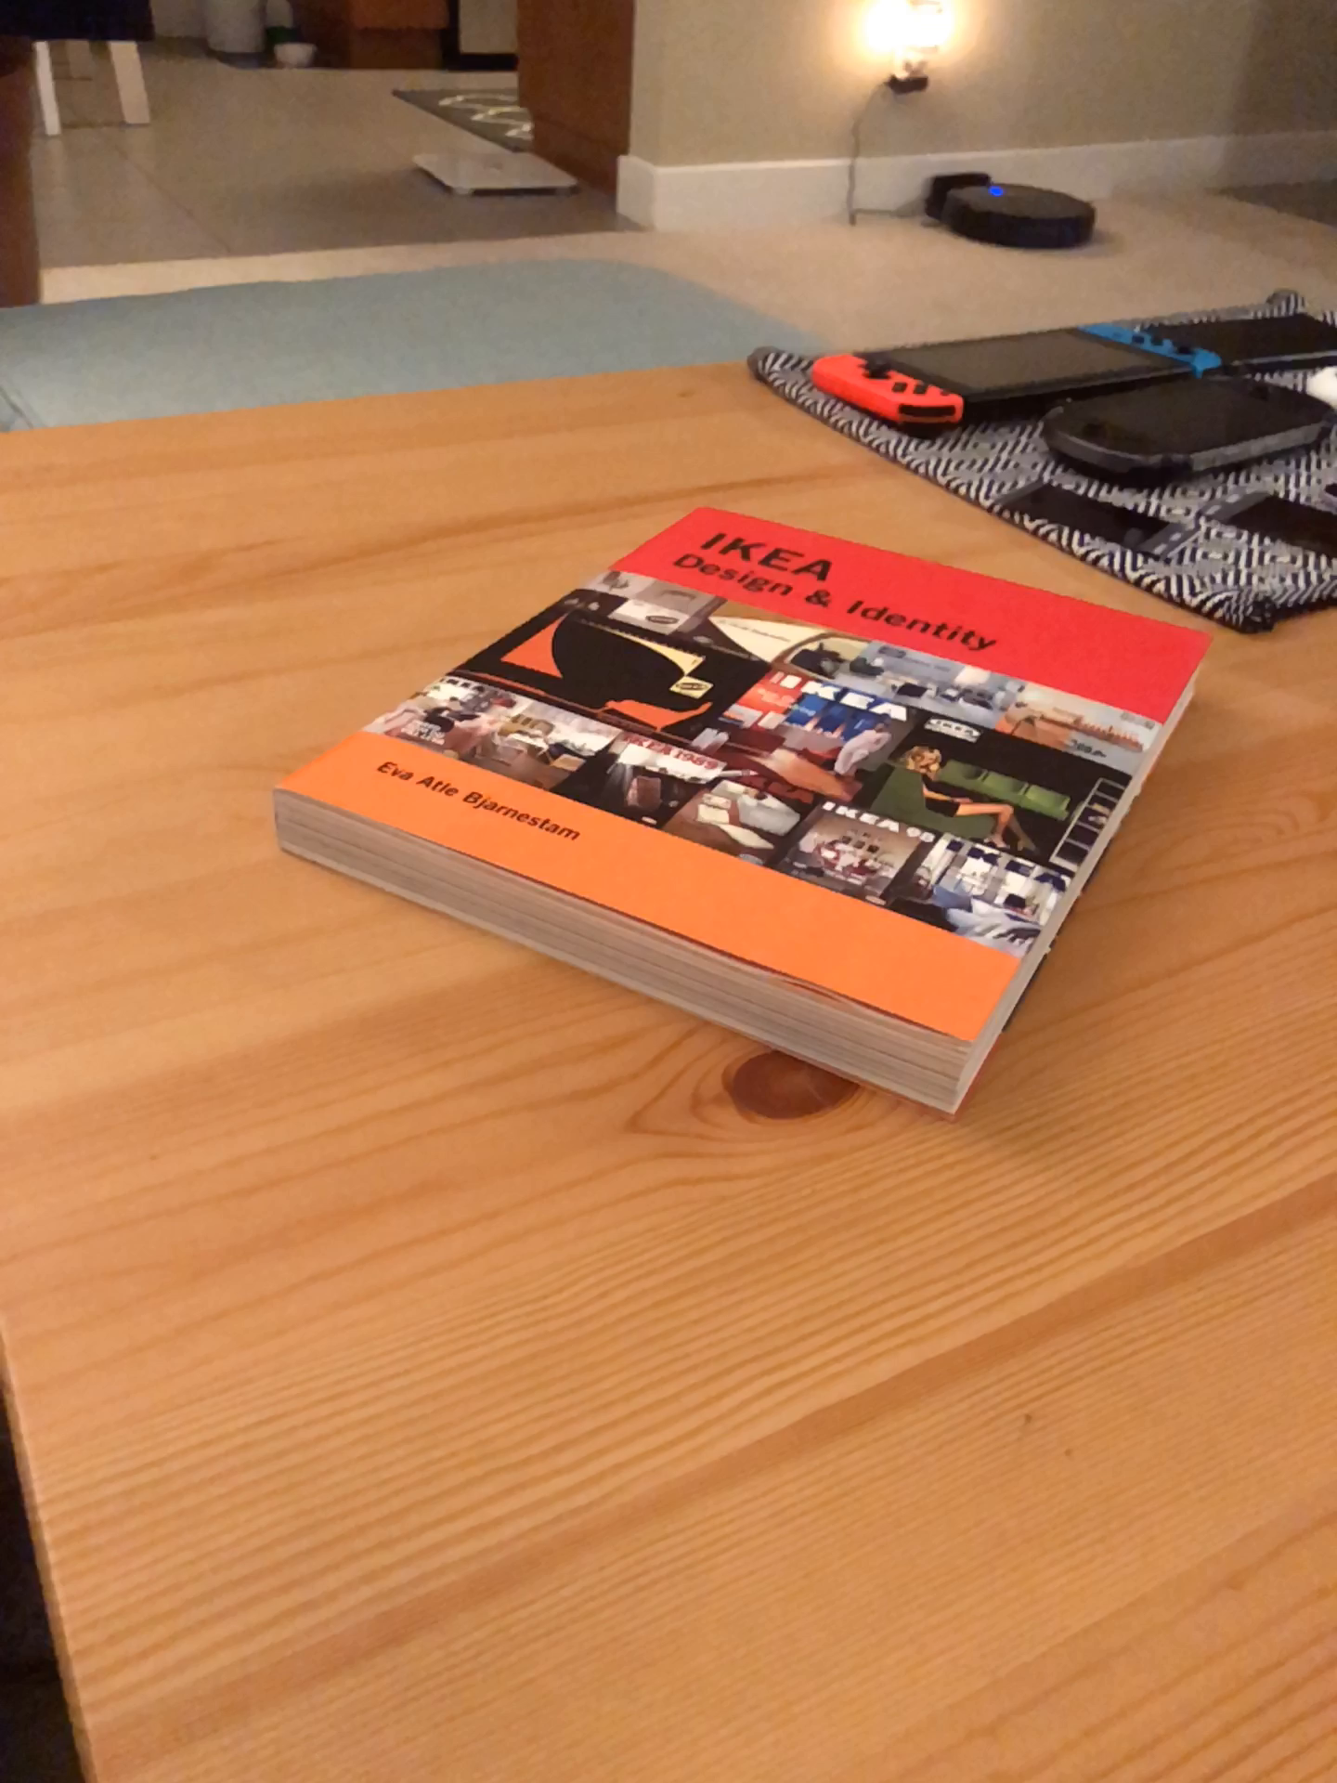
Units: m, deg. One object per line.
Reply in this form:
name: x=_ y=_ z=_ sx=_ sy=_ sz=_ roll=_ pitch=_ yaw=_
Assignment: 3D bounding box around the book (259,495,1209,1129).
book: x=0.038 y=-0.053 z=0.485 sx=0.216 sy=0.030 sz=0.256 roll=21 pitch=39 yaw=21
